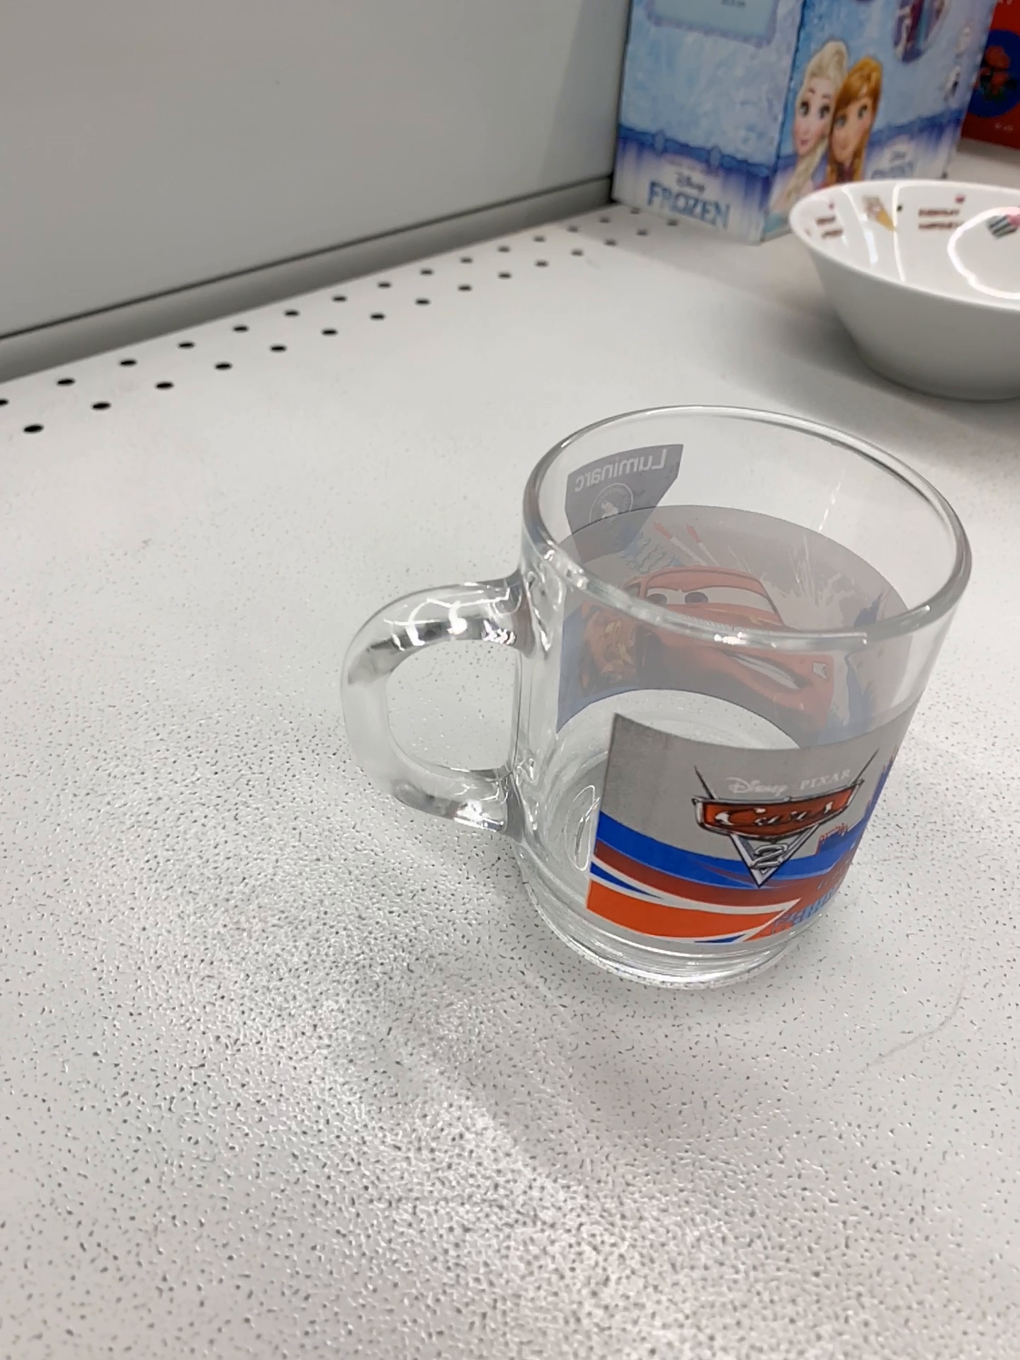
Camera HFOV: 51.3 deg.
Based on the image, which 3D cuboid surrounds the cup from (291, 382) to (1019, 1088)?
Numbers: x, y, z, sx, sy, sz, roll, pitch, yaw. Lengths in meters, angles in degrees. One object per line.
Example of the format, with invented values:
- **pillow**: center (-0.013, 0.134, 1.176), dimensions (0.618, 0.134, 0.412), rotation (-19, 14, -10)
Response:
- **cup**: center (0.022, 0.007, 0.189), dimensions (0.108, 0.087, 0.071), rotation (-7, 42, -12)
